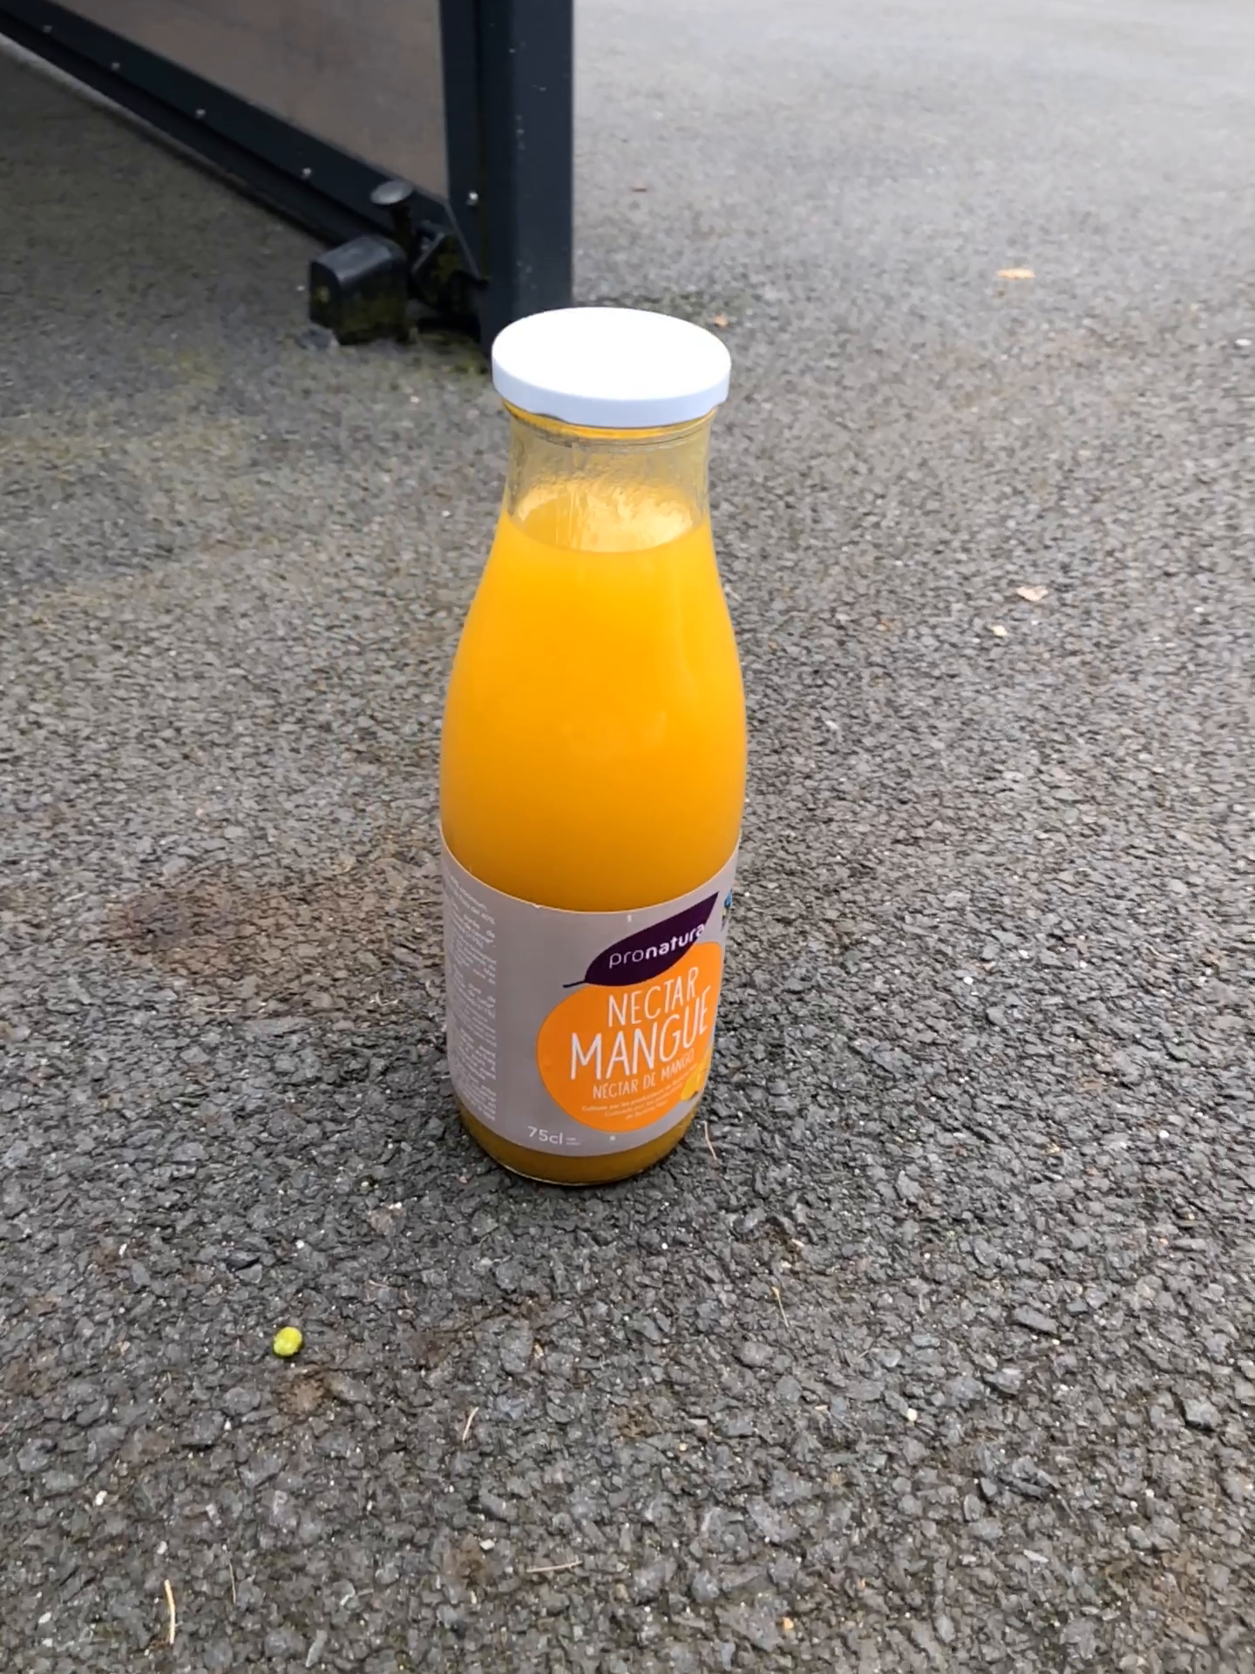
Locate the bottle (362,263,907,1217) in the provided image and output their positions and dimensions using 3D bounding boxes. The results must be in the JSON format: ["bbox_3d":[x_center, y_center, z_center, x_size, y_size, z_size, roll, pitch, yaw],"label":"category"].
[{"bbox_3d":[-0.005,-0.017,0.340,0.080,0.209,0.080,2,38,-1],"label":"bottle"}]
